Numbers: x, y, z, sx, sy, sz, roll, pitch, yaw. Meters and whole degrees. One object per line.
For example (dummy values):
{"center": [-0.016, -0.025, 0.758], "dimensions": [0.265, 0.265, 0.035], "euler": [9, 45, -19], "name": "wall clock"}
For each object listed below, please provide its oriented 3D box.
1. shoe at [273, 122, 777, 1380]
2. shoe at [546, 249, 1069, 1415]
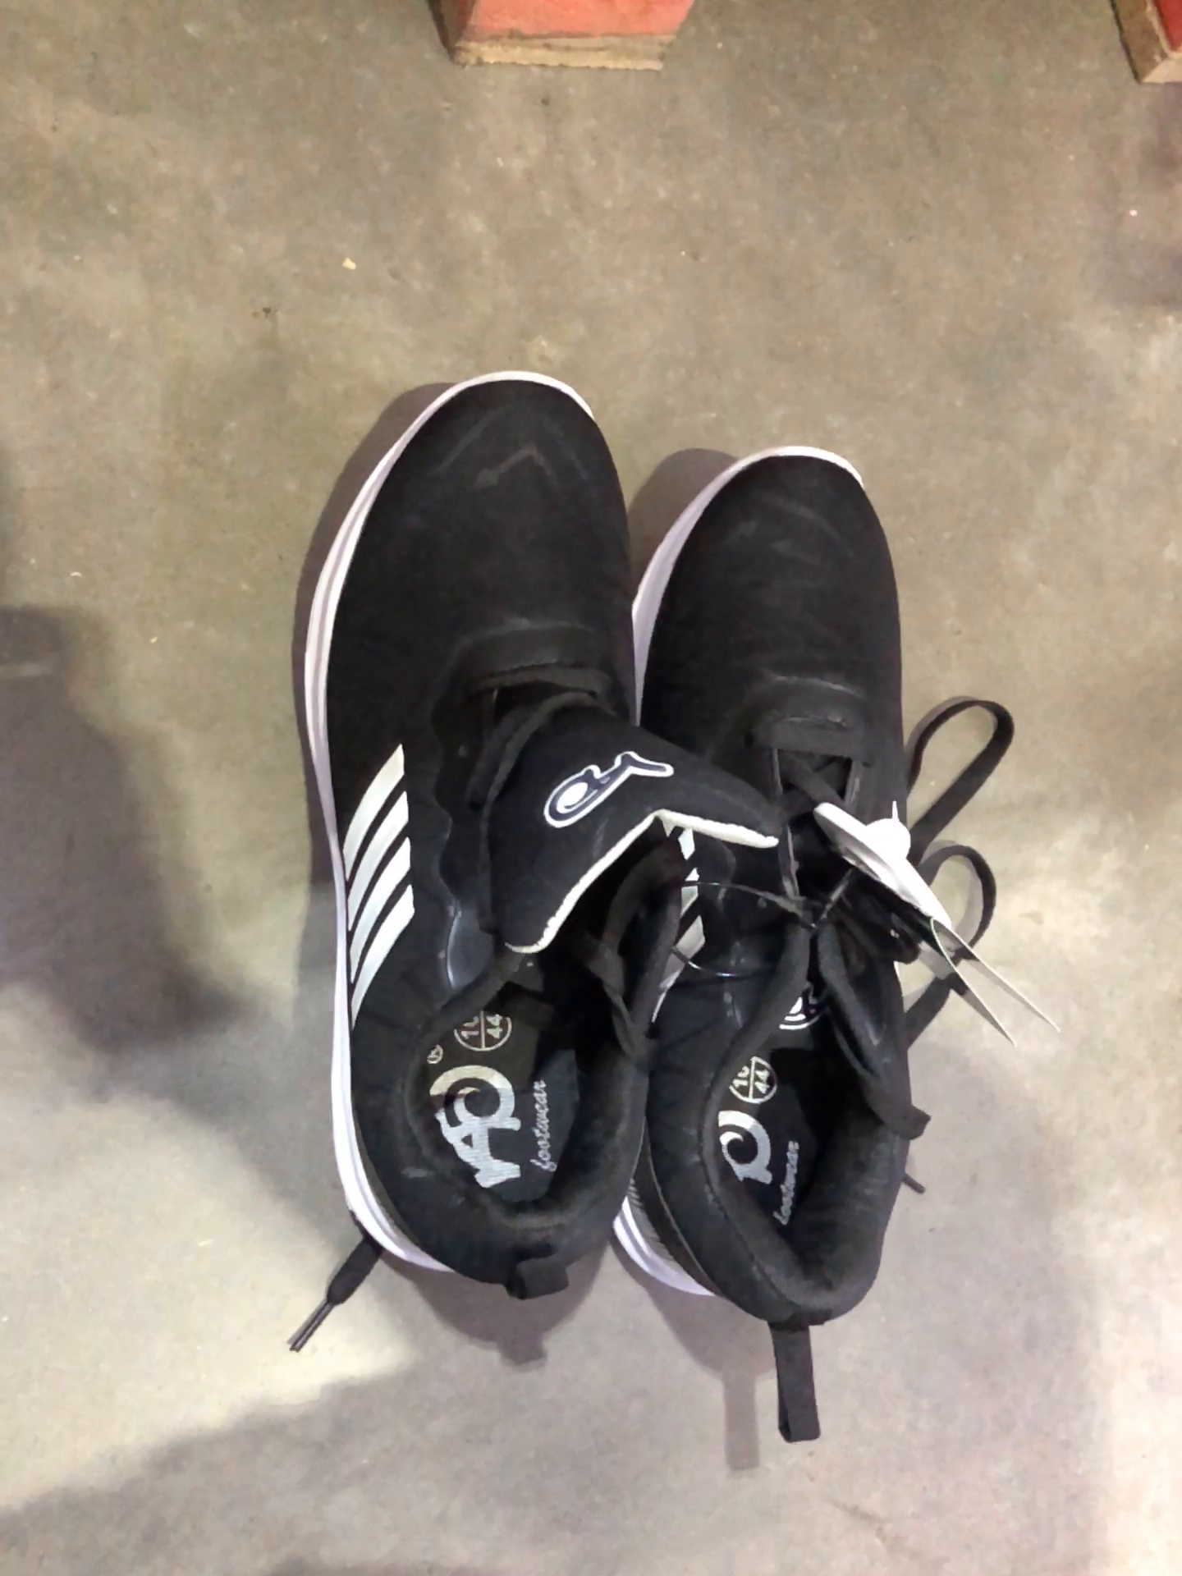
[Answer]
{"center": [-0.031, -0.011, 0.413], "dimensions": [0.120, 0.130, 0.330], "euler": [2, 79, -17], "name": "shoe"}
{"center": [0.068, 0.015, 0.427], "dimensions": [0.110, 0.130, 0.320], "euler": [8, 77, -16], "name": "shoe"}
